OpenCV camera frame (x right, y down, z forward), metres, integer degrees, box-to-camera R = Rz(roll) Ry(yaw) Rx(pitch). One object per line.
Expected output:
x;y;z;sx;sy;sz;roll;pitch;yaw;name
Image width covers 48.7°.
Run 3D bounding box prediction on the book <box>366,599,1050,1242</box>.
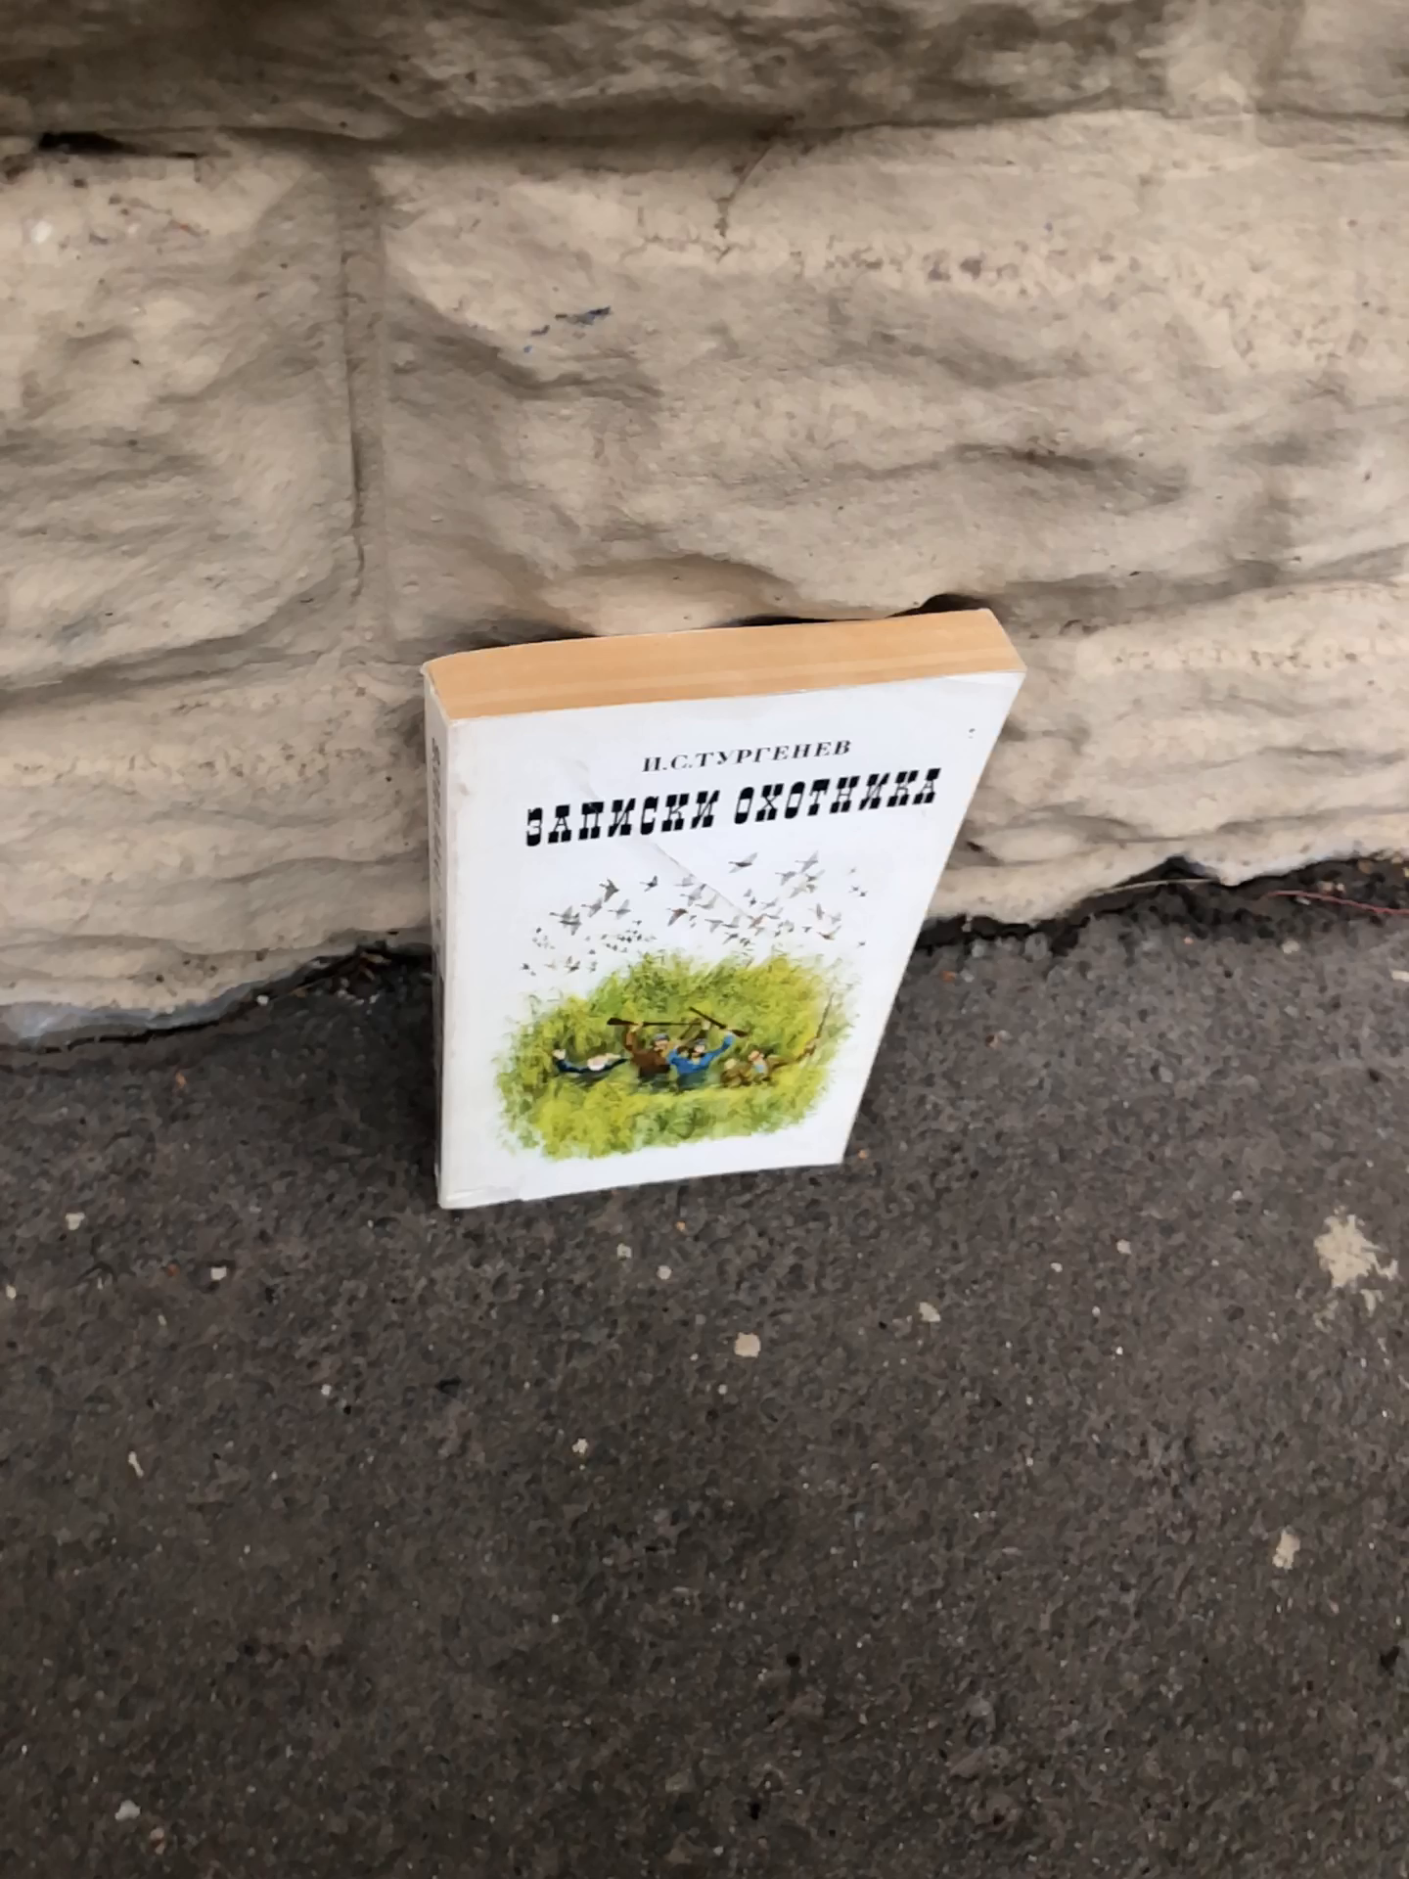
-0.007;0.004;0.386;0.137;0.183;0.032;-6;50;-12;book
